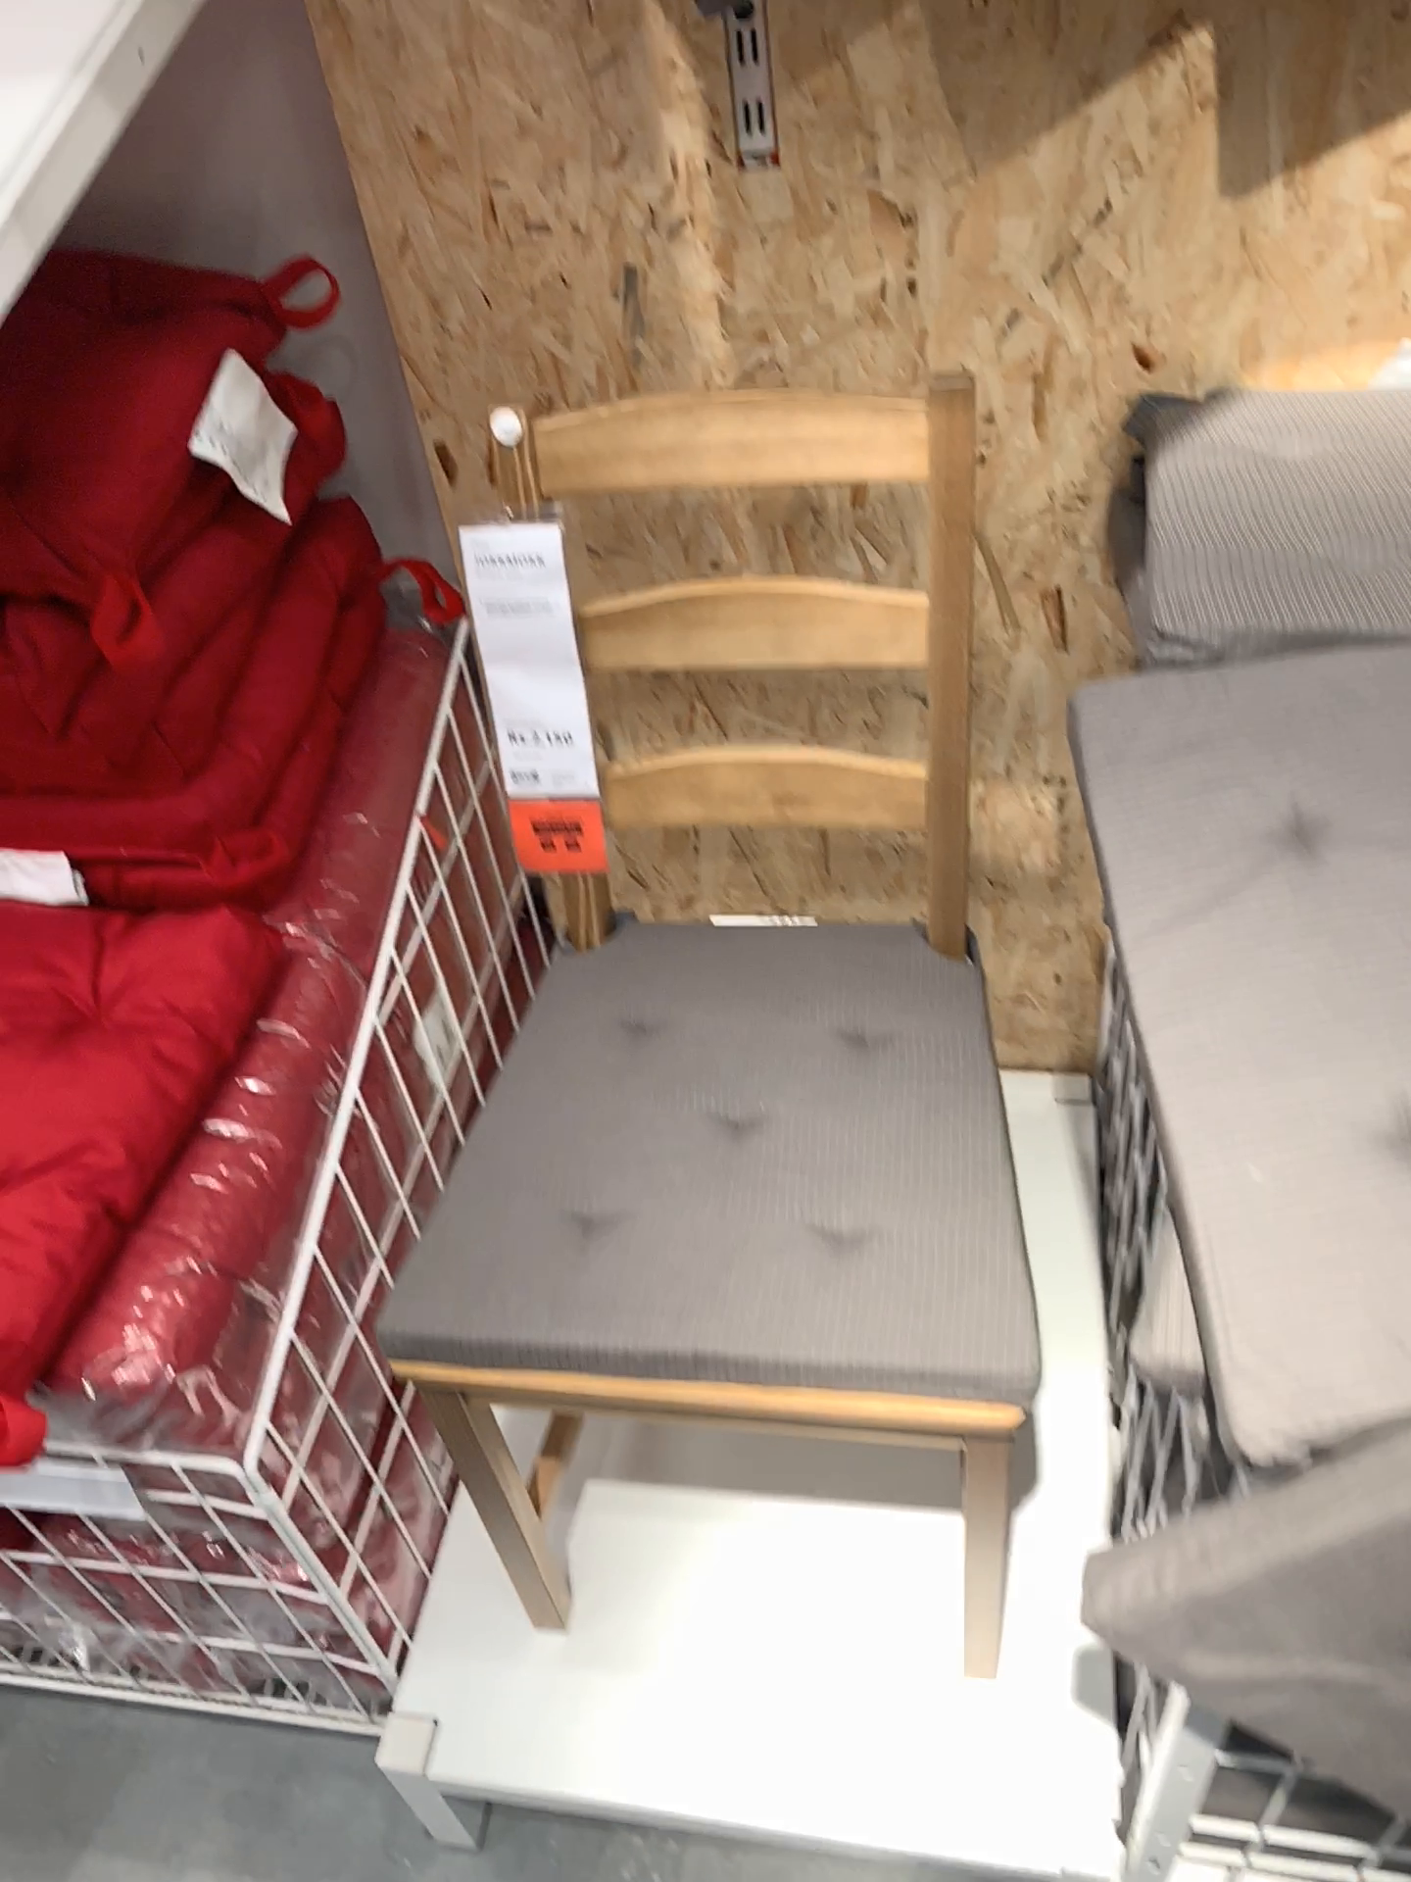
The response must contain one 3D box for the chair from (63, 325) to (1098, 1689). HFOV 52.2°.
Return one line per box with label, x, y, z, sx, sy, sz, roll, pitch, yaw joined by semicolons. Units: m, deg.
chair;0.026;0.098;1.060;0.440;0.866;0.502;1;44;11
